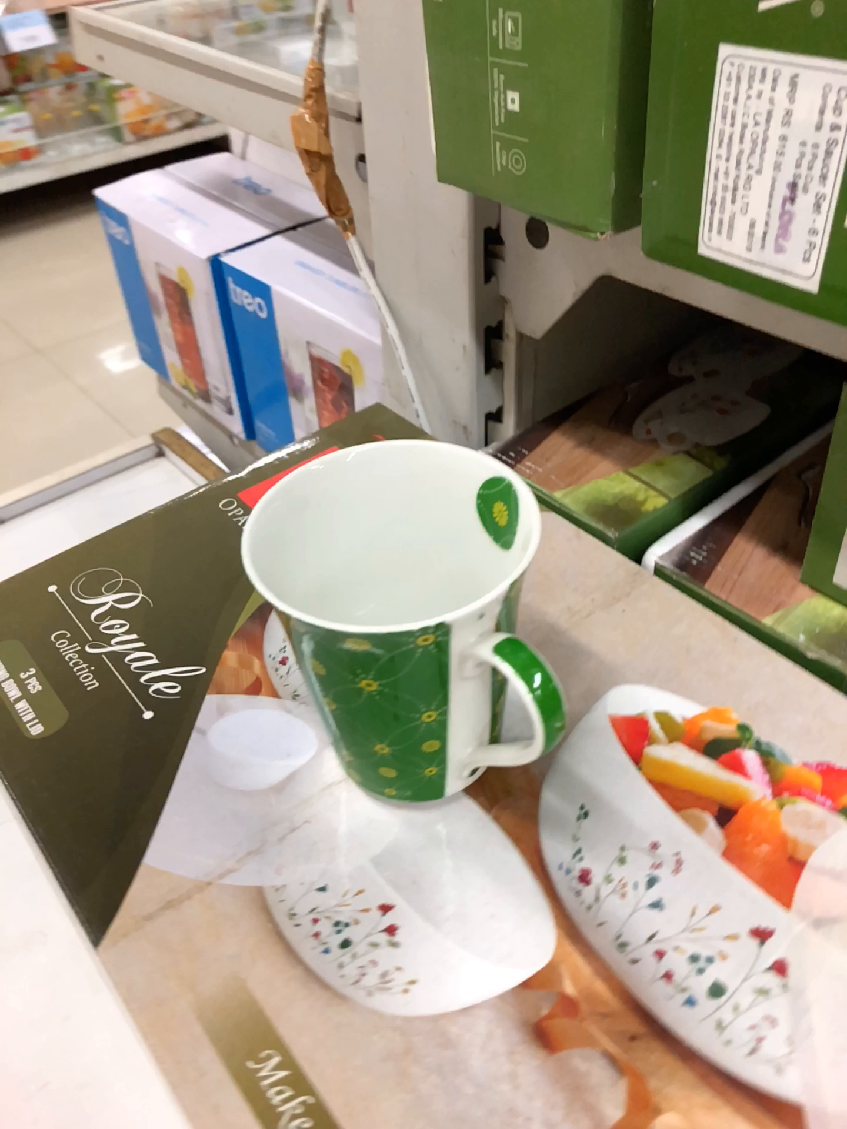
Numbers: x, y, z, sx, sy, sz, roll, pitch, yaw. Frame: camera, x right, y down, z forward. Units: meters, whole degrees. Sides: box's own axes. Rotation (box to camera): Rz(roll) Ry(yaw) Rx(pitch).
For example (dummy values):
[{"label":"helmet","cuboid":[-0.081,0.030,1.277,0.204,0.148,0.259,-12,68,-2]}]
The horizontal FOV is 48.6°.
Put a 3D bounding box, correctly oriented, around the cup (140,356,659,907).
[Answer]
[{"label":"cup","cuboid":[-0.008,0.012,0.280,0.090,0.089,0.110,-30,47,-27]}]
